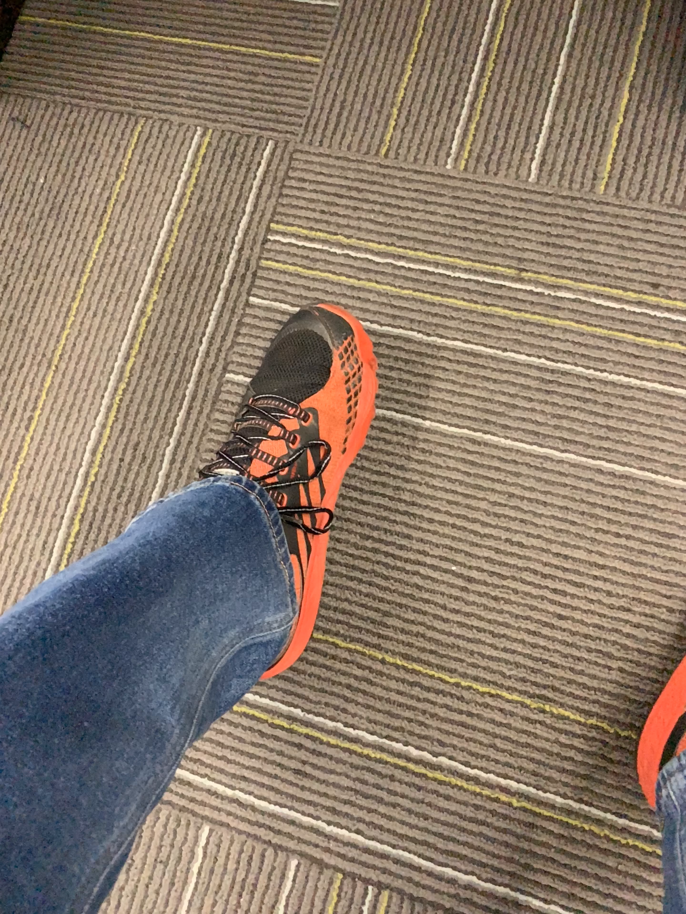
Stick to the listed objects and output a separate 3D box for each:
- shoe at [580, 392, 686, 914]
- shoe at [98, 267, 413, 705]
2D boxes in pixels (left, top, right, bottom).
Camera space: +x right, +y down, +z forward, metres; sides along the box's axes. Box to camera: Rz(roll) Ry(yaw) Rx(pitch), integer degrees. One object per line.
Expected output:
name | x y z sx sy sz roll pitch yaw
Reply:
shoe | 0.298 0.129 0.472 0.140 0.090 0.302 25 85 1
shoe | -0.063 0.016 0.548 0.132 0.090 0.305 12 81 31
